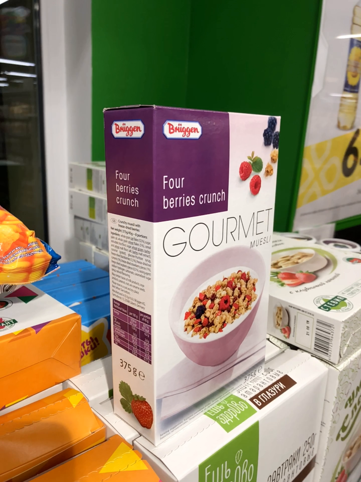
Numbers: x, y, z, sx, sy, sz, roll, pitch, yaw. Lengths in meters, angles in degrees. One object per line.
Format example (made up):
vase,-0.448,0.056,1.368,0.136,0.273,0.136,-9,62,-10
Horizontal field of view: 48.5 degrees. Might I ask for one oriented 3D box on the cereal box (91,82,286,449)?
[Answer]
cereal box,0.013,0.009,0.296,0.050,0.219,0.140,12,18,43
